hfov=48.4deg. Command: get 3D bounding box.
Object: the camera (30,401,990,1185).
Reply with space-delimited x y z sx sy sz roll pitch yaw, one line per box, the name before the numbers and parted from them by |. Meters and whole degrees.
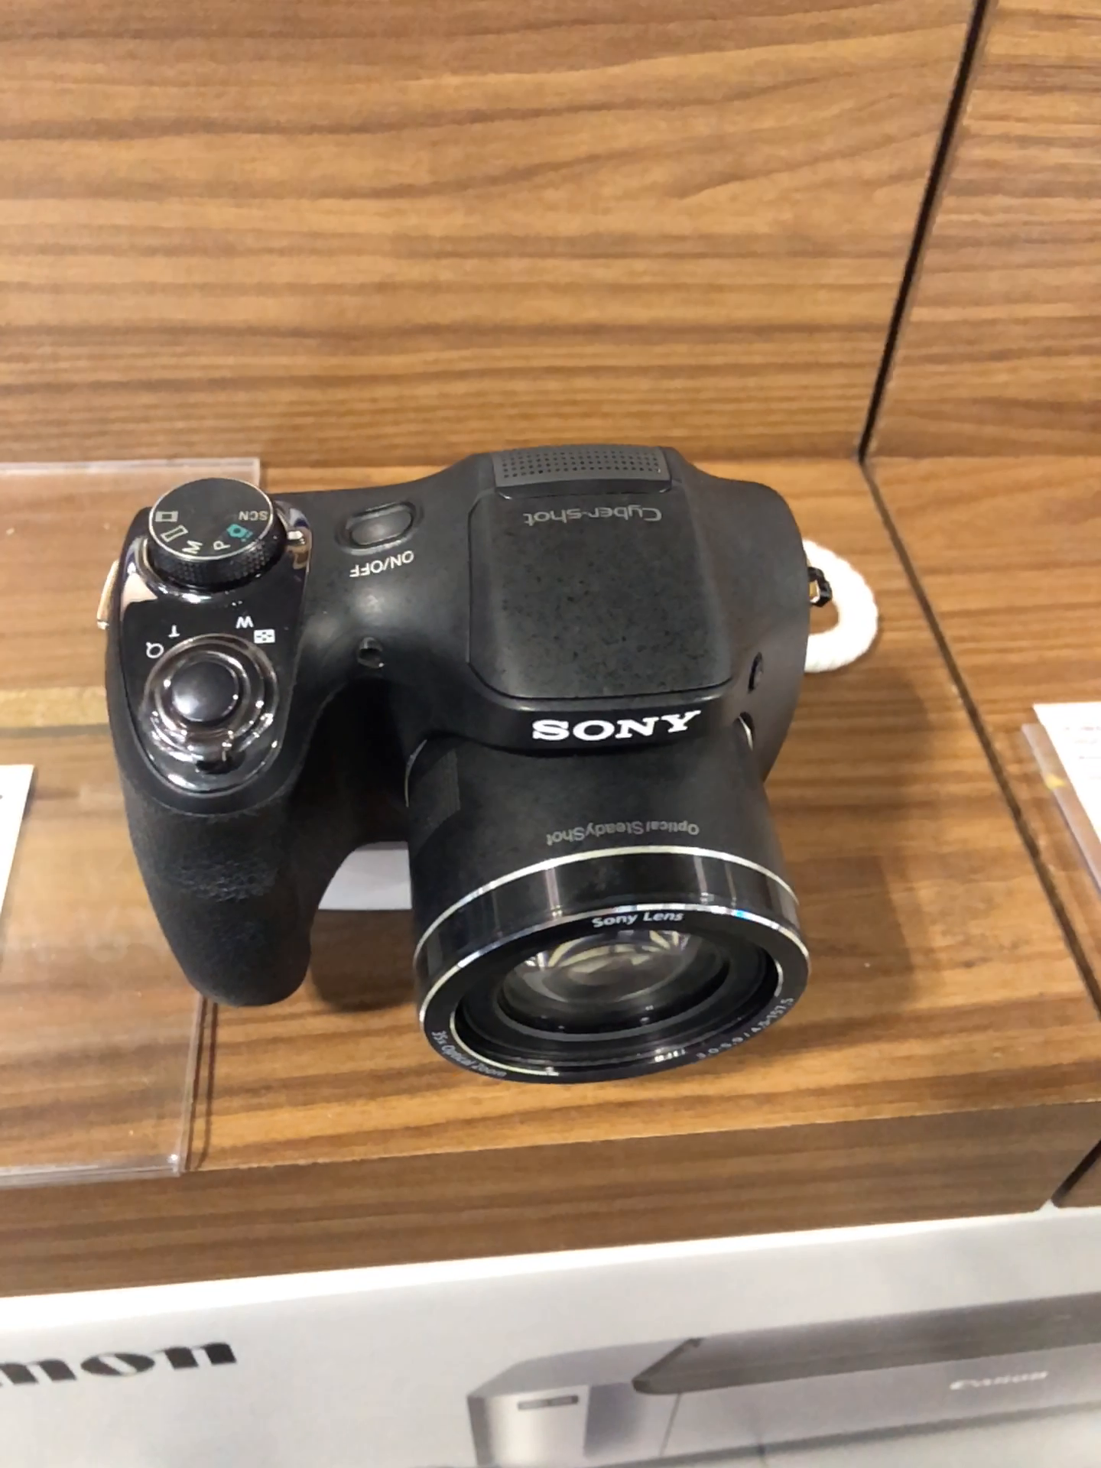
camera | -0.011 0.008 0.216 0.120 0.092 0.091 -4 45 -8
